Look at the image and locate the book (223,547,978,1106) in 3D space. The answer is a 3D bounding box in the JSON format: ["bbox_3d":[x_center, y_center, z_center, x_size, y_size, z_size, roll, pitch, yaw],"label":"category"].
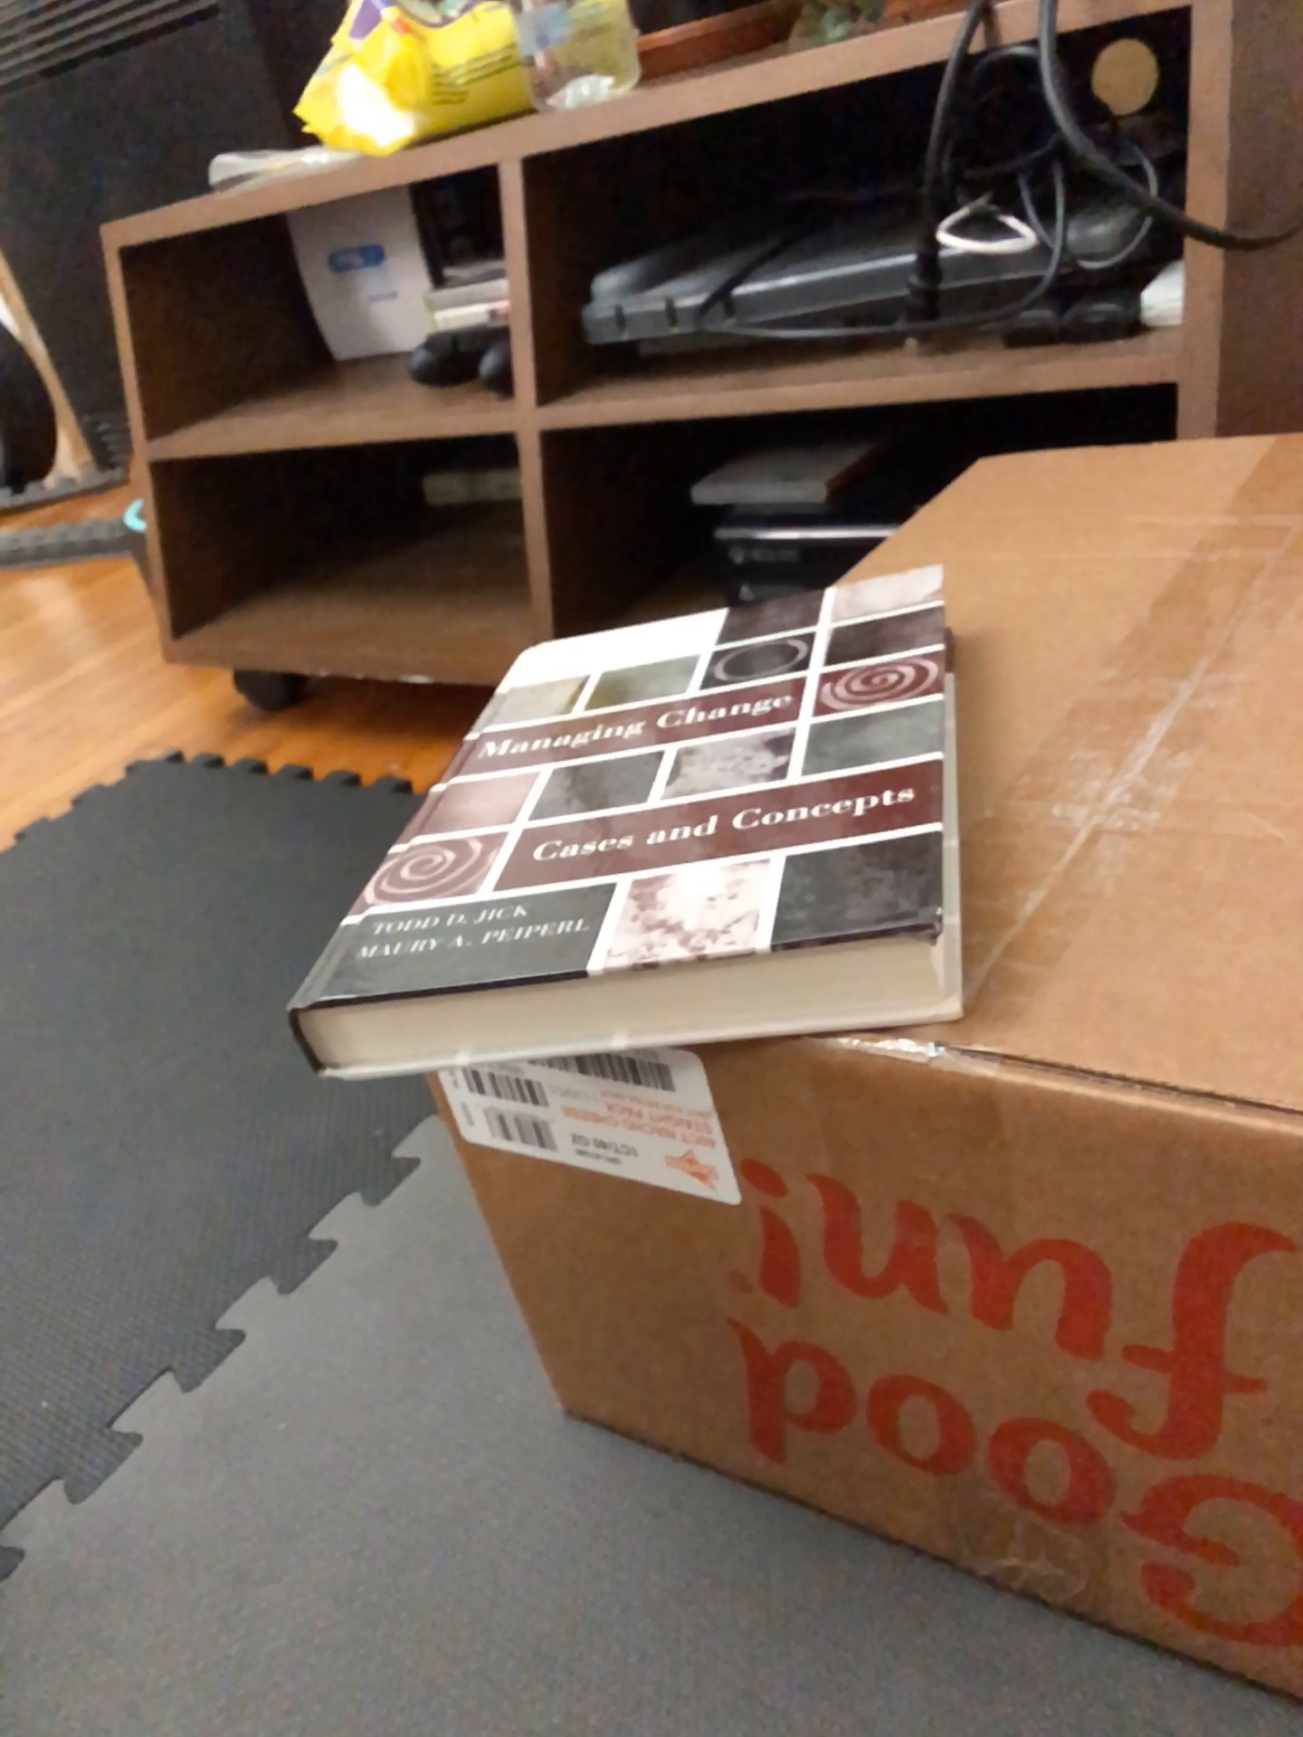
[{"bbox_3d":[0.004,-0.028,0.447,0.180,0.030,0.251,-7,30,15],"label":"book"}]
